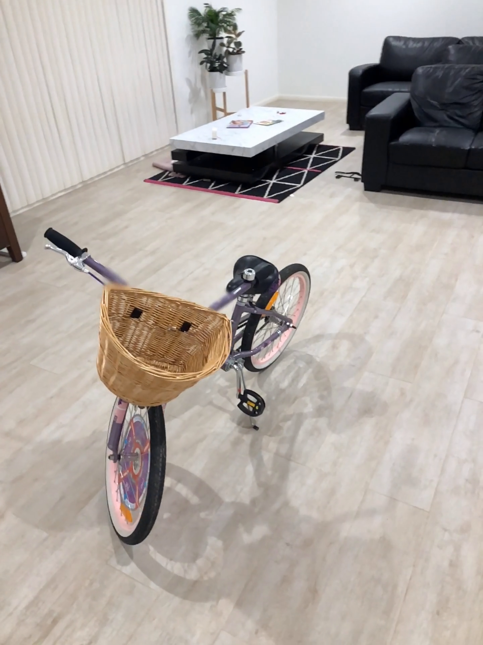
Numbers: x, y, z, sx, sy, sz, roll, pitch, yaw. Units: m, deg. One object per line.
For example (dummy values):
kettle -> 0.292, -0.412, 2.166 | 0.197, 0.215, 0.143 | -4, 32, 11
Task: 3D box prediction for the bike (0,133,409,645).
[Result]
bike -> -0.011, 0.068, 1.737 | 0.748, 0.877, 1.220 | 13, 40, 24
